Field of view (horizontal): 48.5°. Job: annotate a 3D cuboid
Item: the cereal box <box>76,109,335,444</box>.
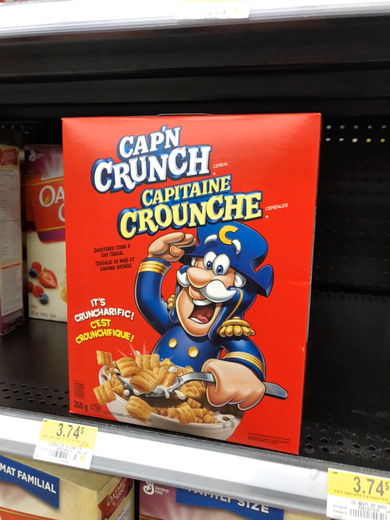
[{"bbox_3d":[0.005,0.009,0.410,0.220,0.279,0.060,4,11,15],"label":"cereal box"}]
